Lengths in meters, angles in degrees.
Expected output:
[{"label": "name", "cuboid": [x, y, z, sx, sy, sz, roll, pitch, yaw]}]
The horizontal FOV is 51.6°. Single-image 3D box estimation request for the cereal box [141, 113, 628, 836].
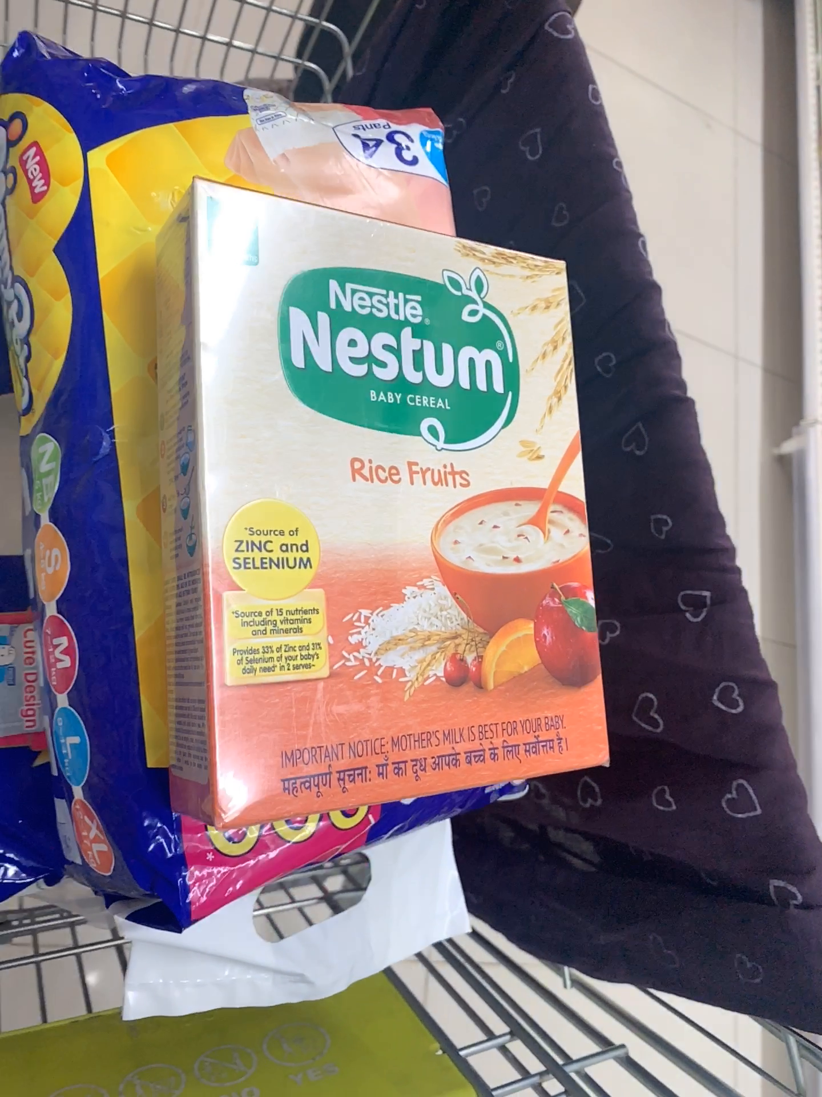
[{"label": "cereal box", "cuboid": [-0.007, -0.022, 0.305, 0.161, 0.050, 0.210, 0, 83, -30]}]
